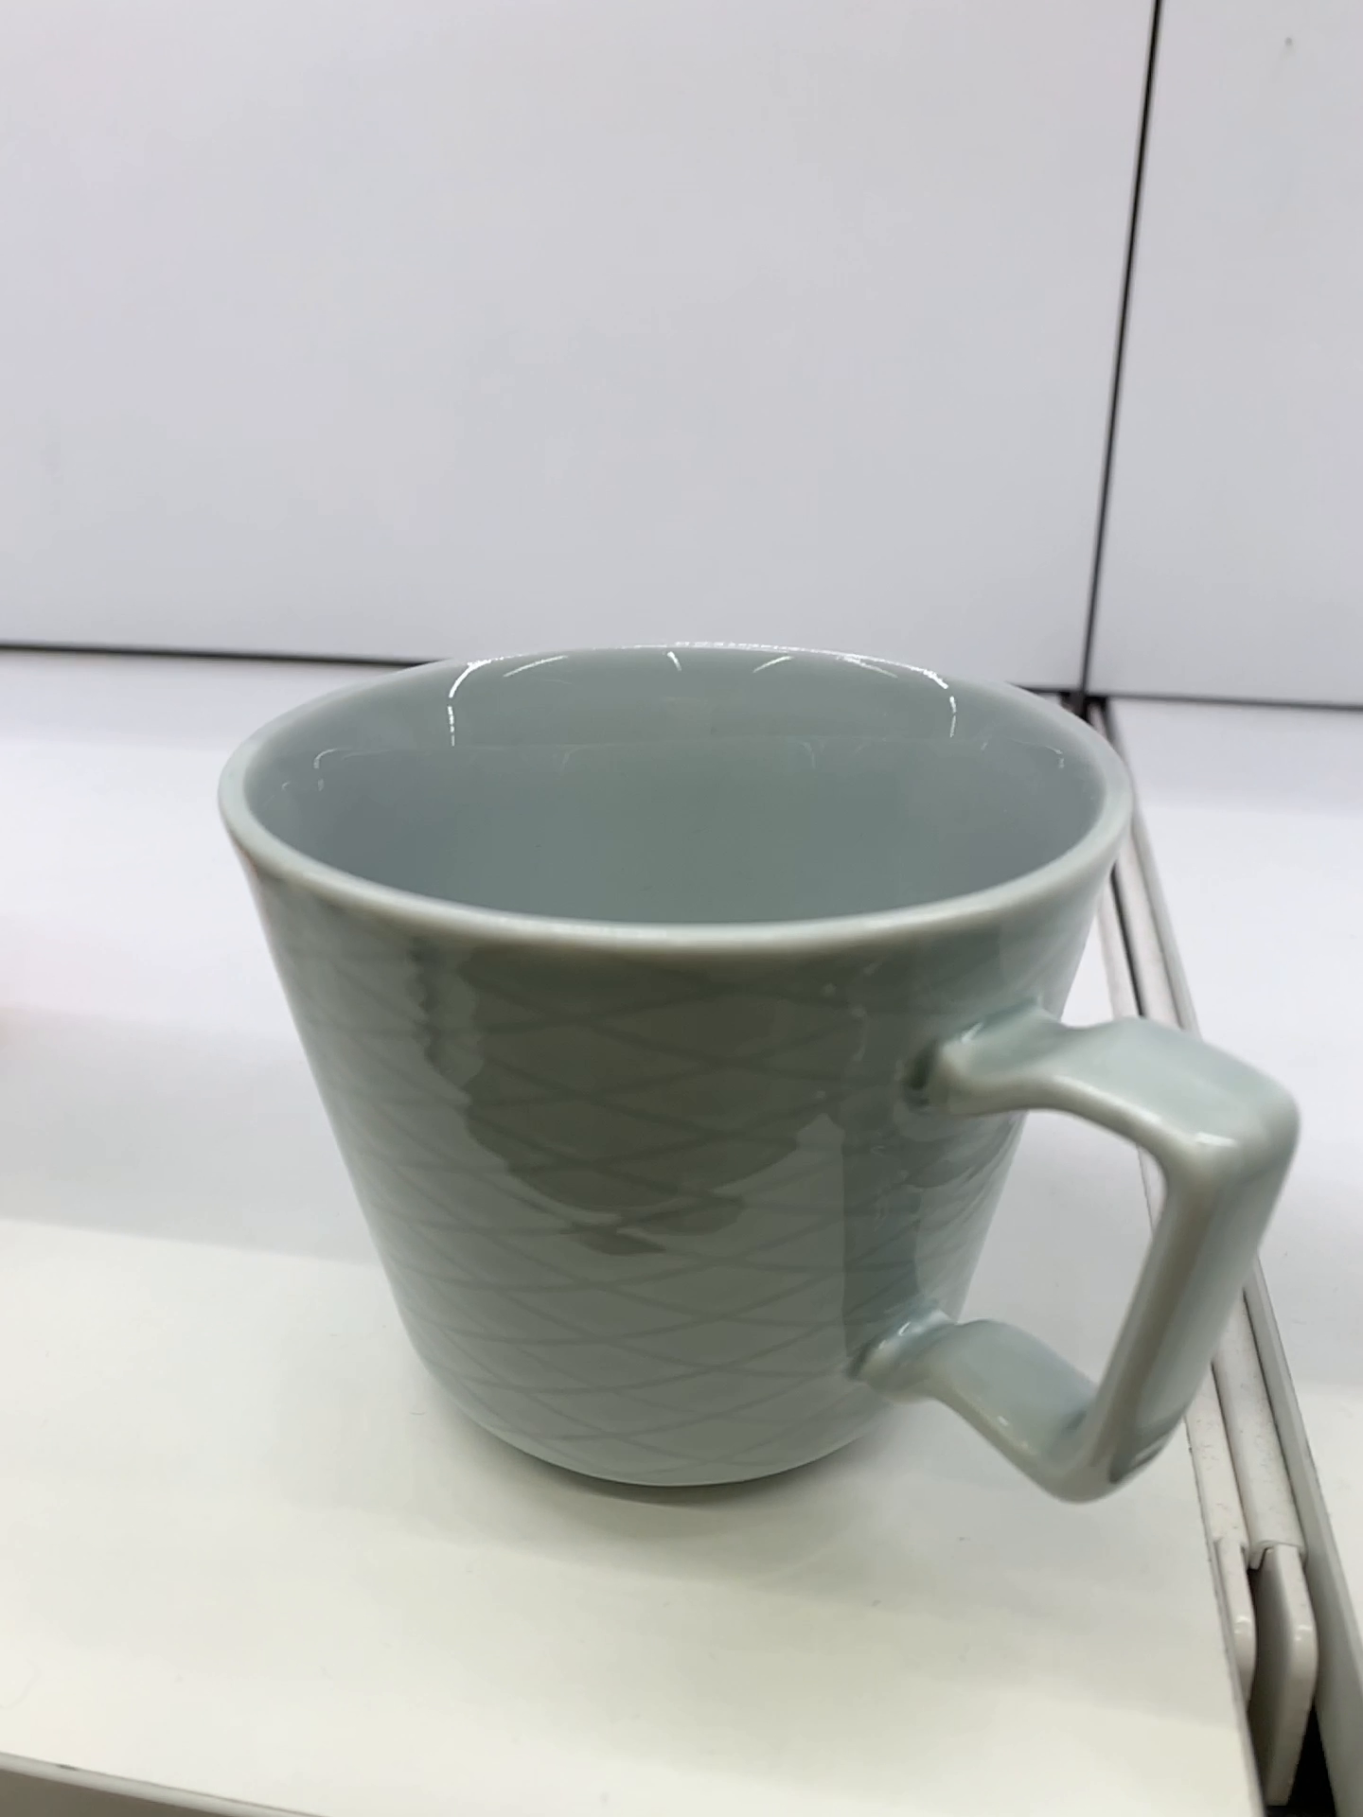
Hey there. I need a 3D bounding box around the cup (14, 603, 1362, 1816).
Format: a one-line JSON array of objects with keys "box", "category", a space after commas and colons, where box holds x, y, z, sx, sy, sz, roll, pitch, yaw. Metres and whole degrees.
[{"box": [0.004, 0.022, 0.177, 0.109, 0.088, 0.124, -20, 30, -40], "category": "cup"}]
